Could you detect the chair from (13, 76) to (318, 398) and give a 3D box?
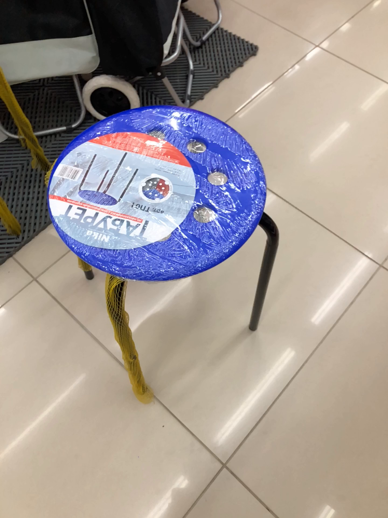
[{"bbox_3d":[-0.053,-0.012,0.790,0.320,0.427,0.324,-25,64,-14],"label":"chair"}]
